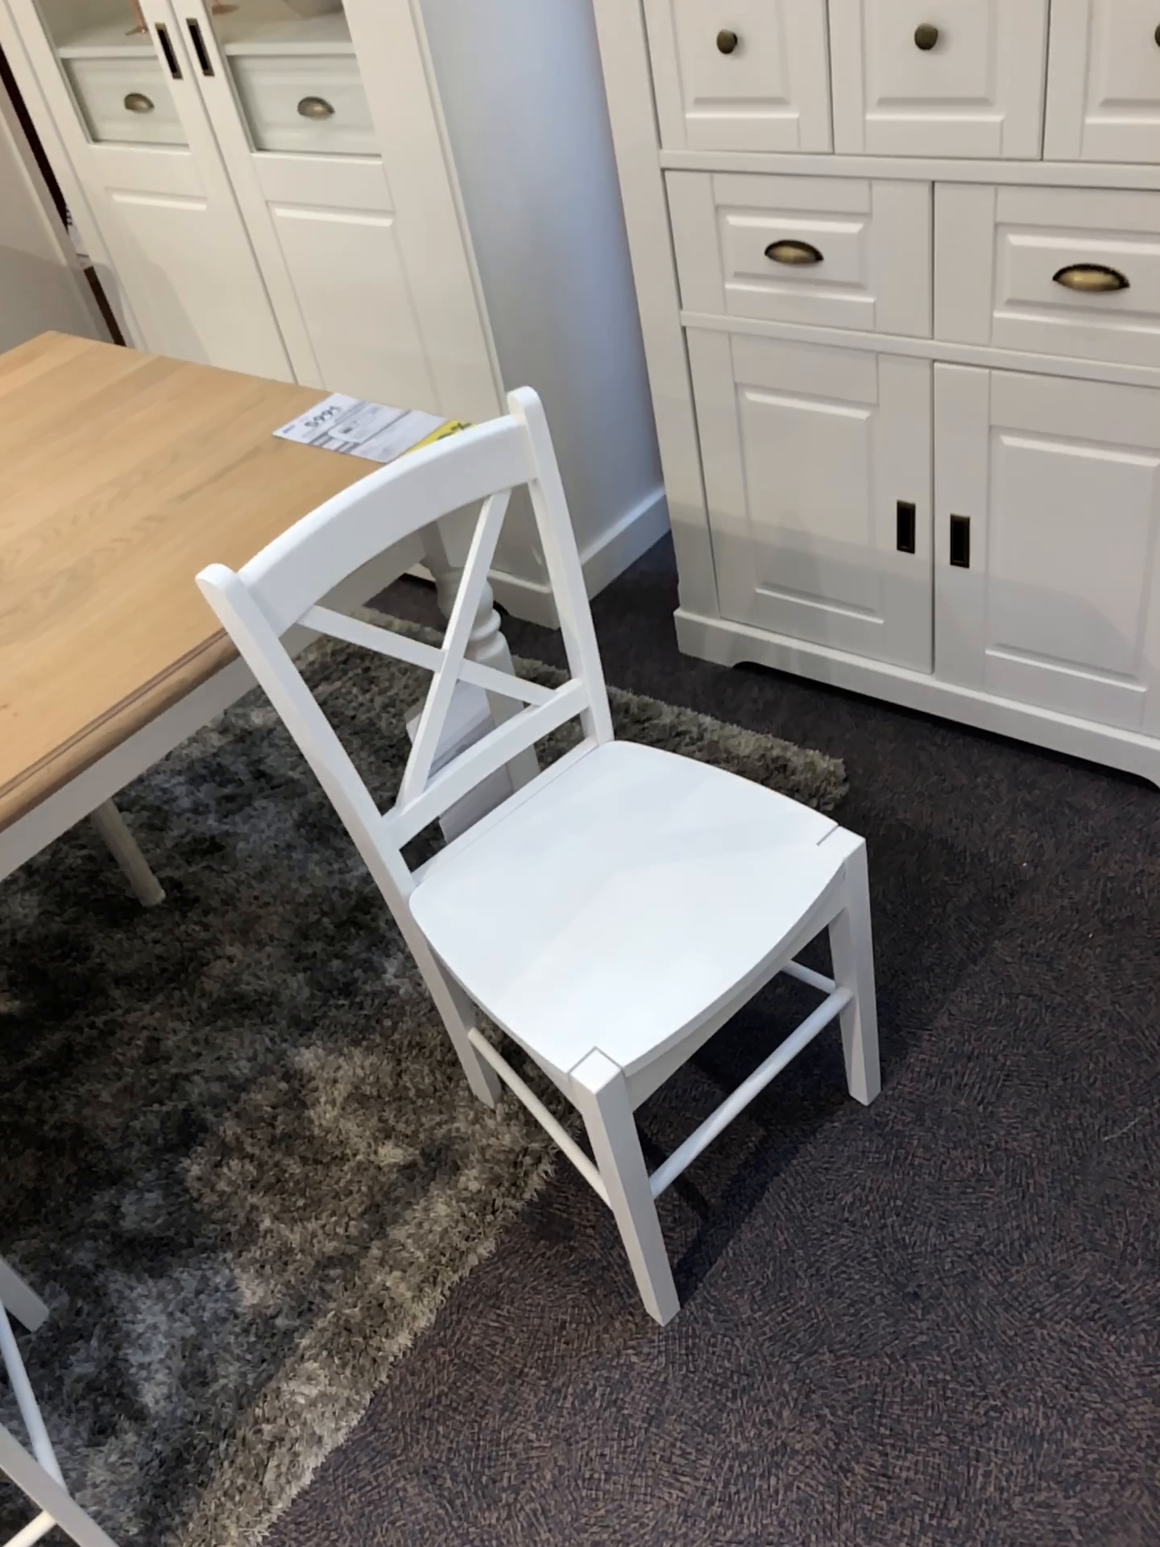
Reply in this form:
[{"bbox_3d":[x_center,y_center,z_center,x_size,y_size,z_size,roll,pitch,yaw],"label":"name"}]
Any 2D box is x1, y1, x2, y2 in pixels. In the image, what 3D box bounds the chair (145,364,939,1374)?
[{"bbox_3d":[0.030,0.097,1.271,0.461,0.785,0.462,26,54,38],"label":"chair"}]
